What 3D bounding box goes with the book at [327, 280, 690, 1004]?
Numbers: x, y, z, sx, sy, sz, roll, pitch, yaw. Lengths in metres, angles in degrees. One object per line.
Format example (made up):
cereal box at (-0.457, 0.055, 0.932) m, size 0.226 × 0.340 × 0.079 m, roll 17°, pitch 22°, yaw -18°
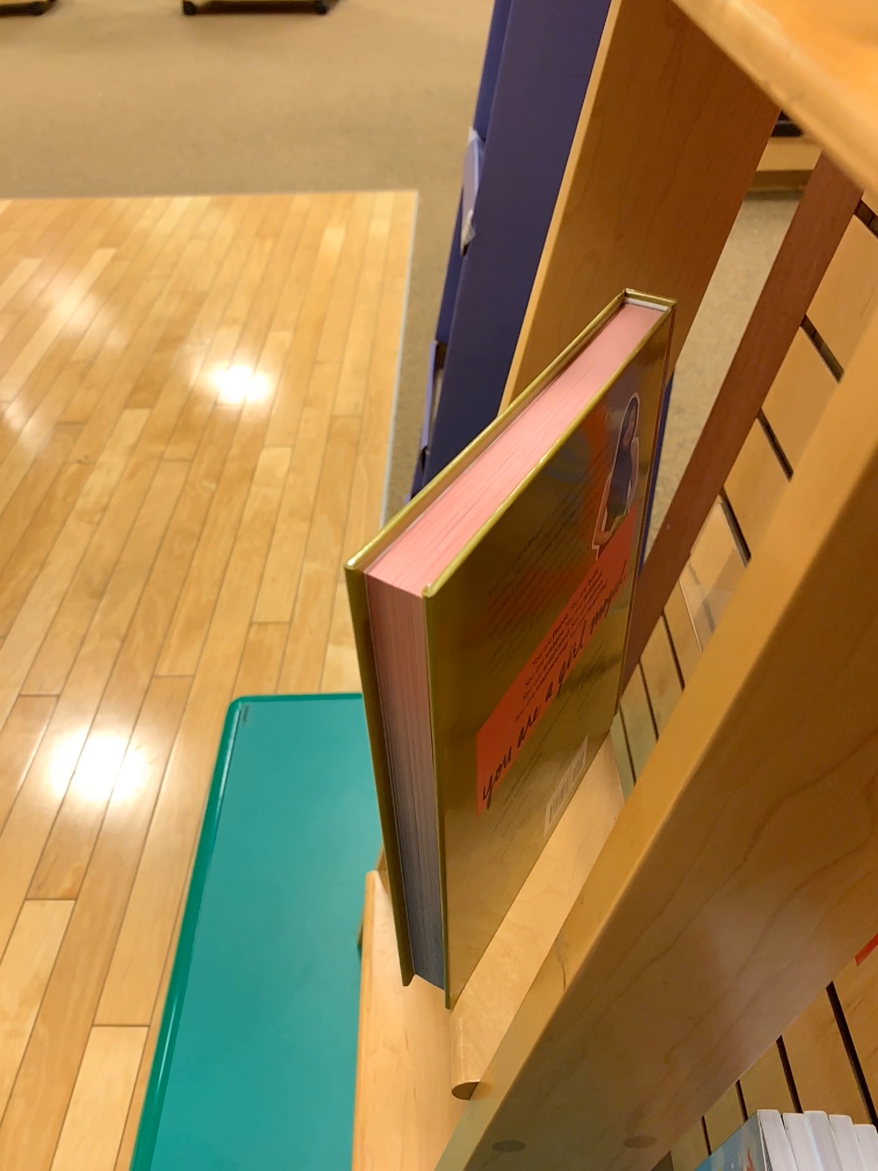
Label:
book at (0.034, 0.026, 0.346) m, size 0.030 × 0.219 × 0.181 m, roll 21°, pitch 47°, yaw 23°
